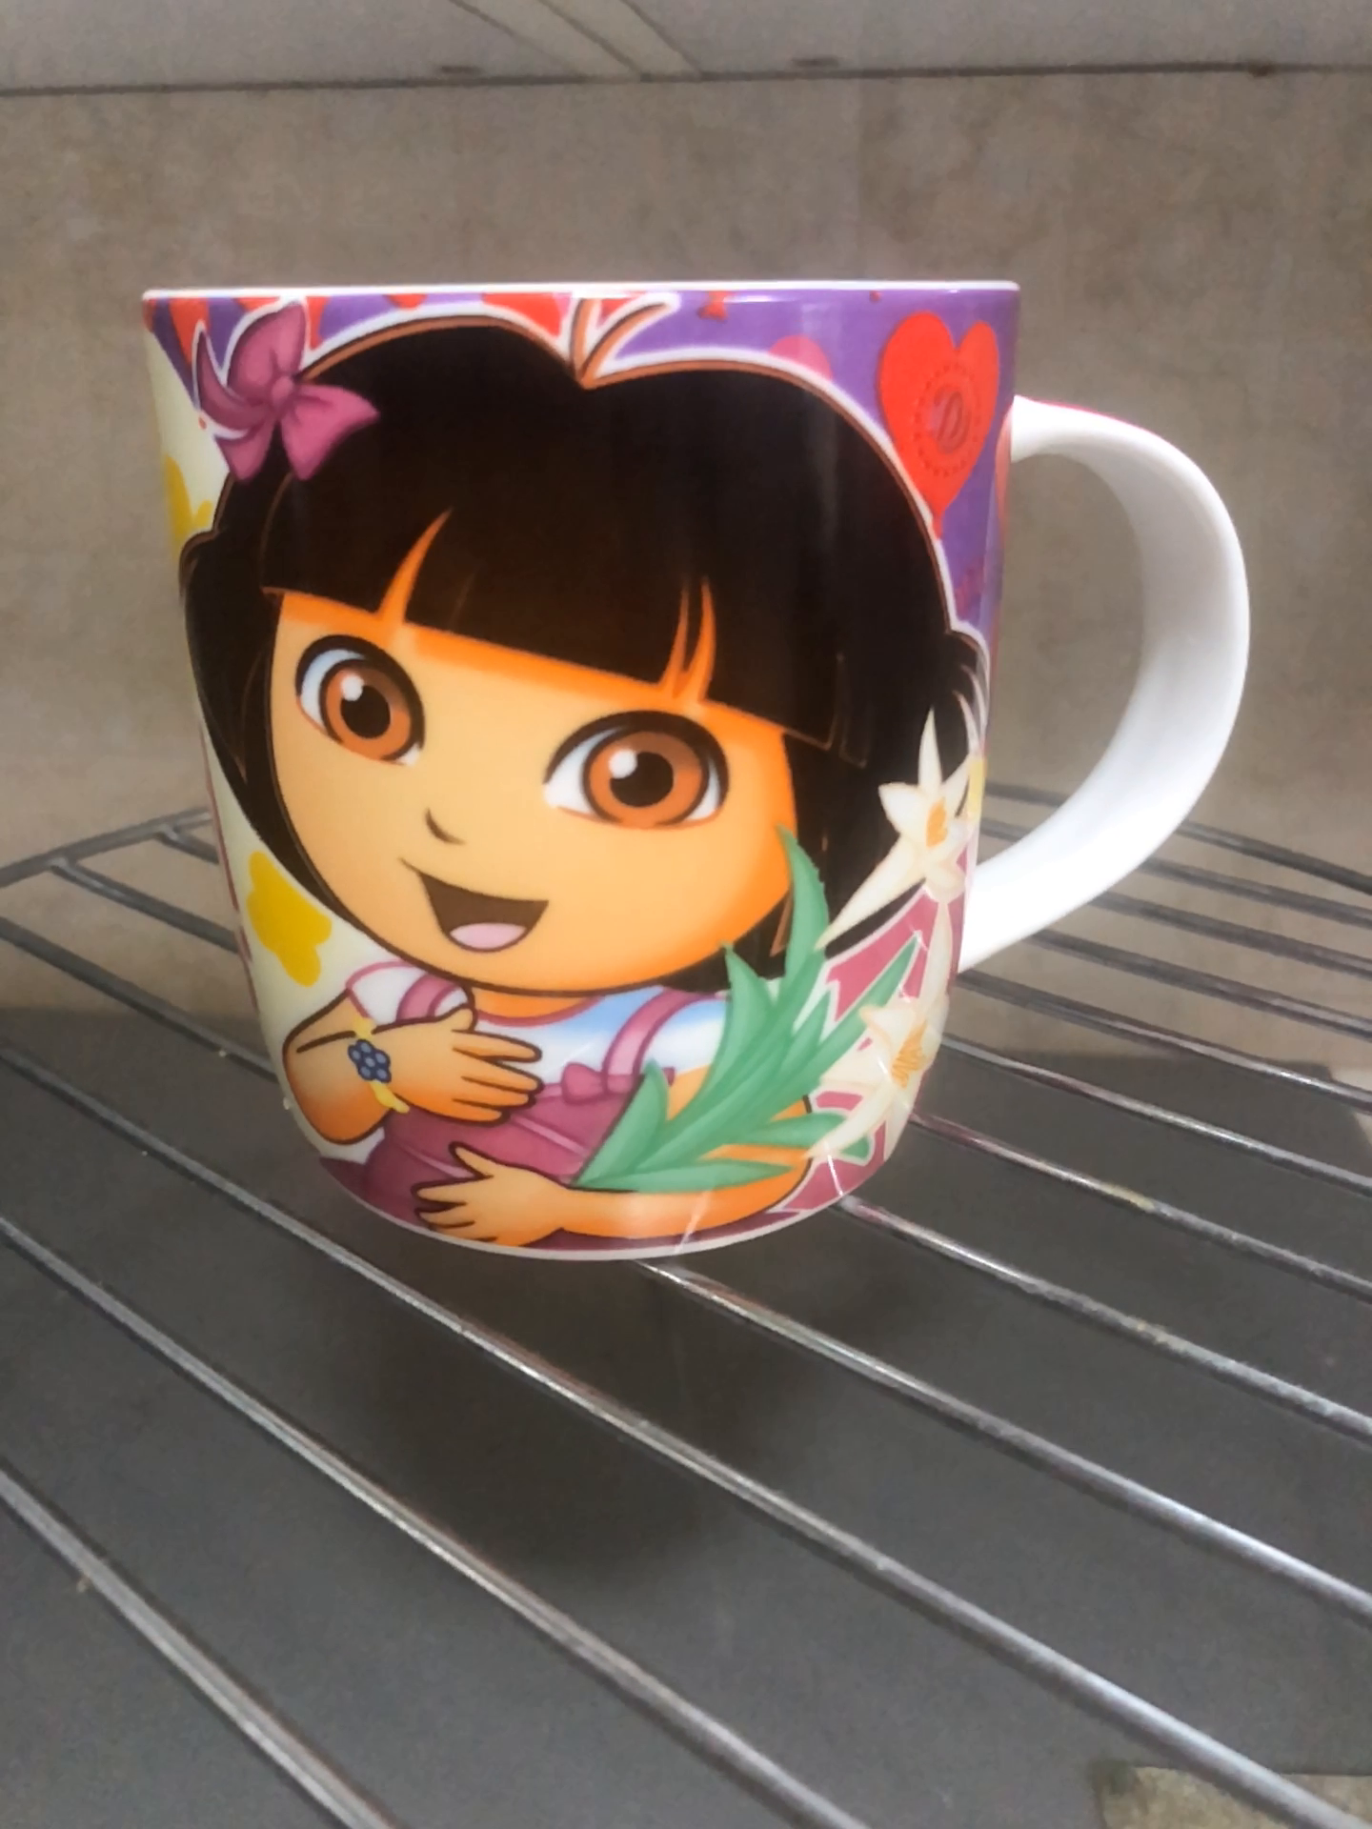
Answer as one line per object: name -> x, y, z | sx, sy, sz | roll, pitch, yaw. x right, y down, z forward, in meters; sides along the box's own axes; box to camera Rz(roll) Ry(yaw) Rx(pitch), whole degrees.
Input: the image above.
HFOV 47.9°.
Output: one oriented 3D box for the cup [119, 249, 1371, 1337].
cup -> 0.010, -0.022, 0.168 | 0.120, 0.089, 0.070 | -5, 22, -14
